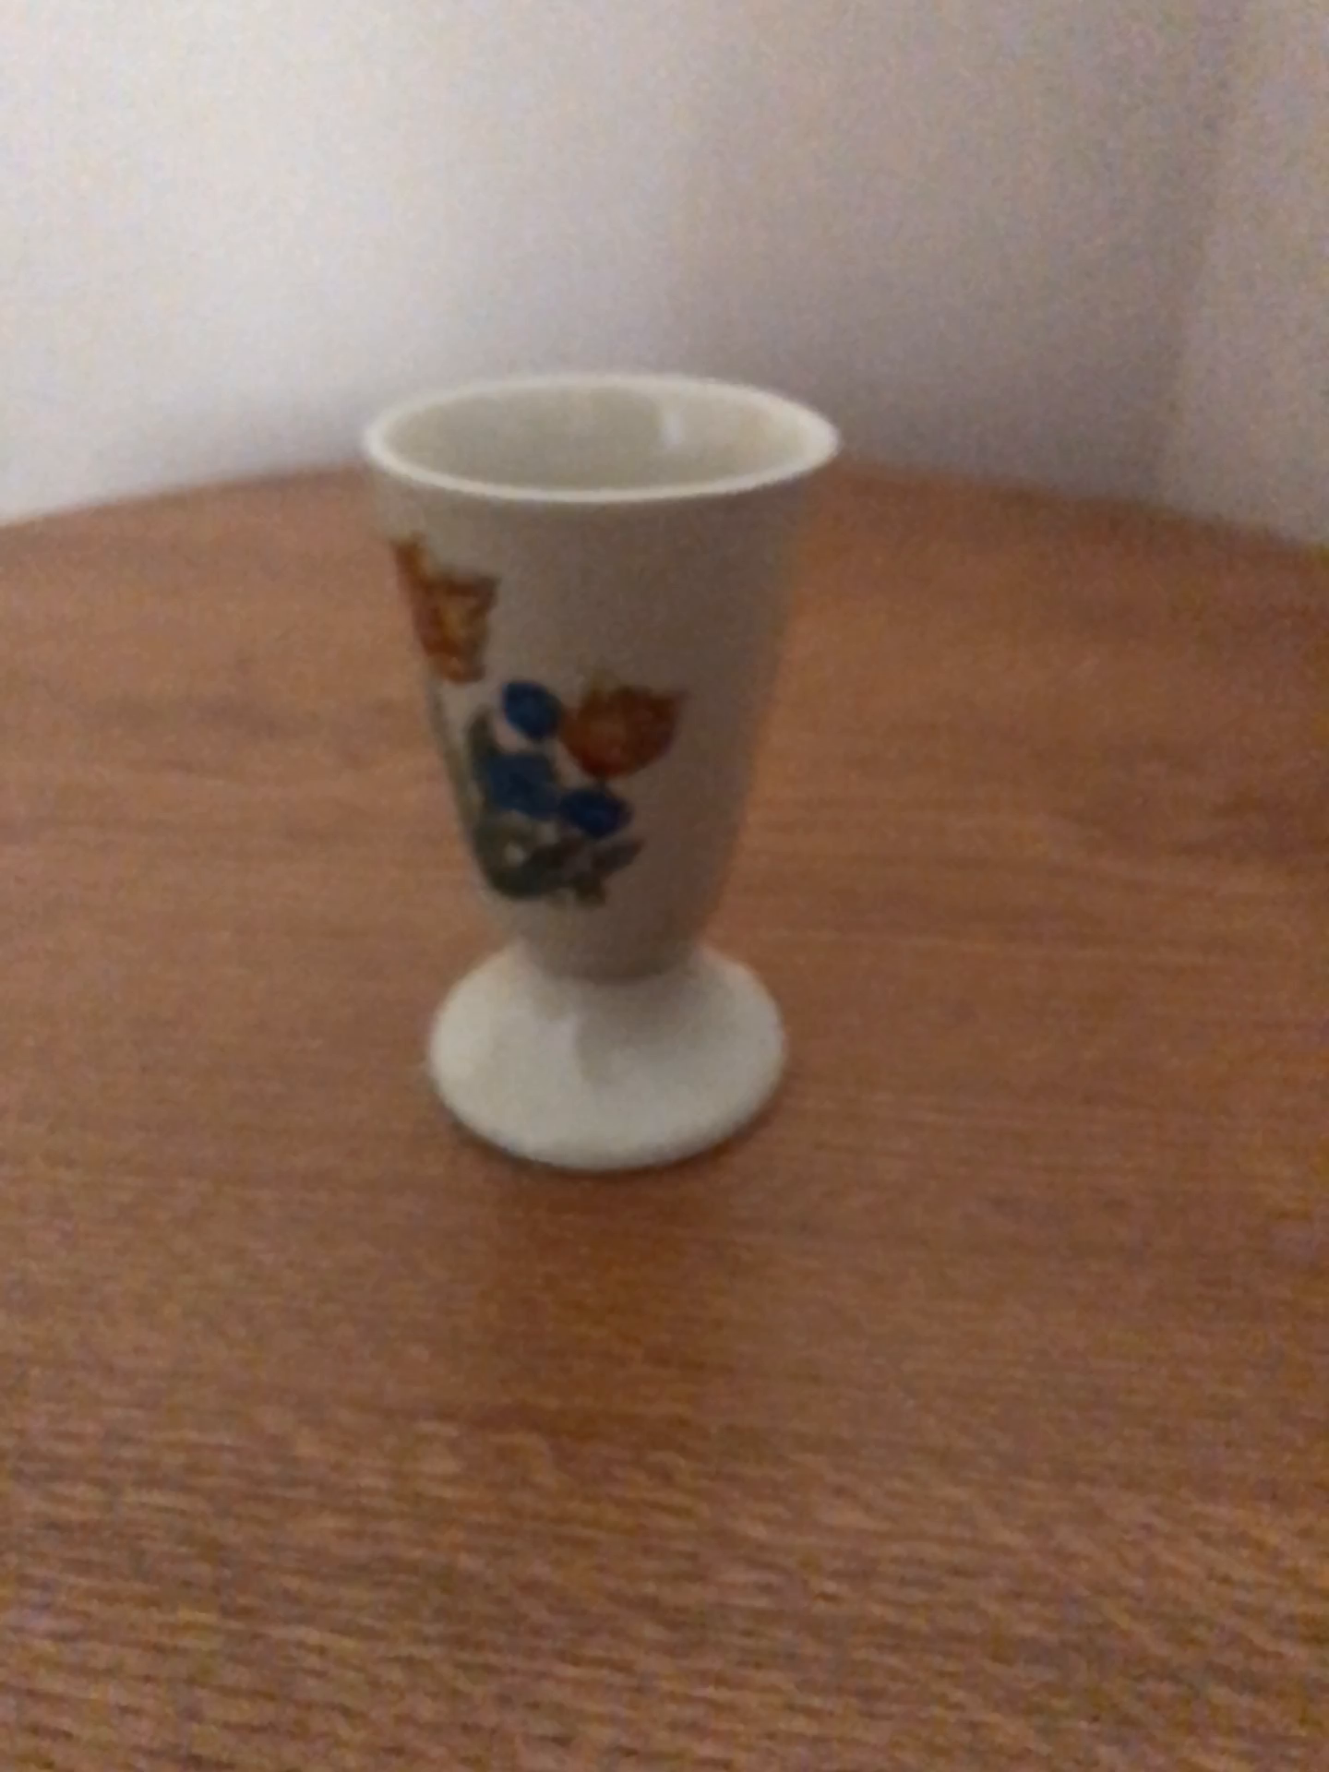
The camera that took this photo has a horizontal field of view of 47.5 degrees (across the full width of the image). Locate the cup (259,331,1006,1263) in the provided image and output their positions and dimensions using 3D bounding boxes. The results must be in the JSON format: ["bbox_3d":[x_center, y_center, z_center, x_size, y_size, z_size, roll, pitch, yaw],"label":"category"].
[{"bbox_3d":[-0.006,-0.020,0.259,0.080,0.119,0.080,1,32,0],"label":"cup"}]

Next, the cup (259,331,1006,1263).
[{"bbox_3d":[-0.006,-0.020,0.259,0.080,0.119,0.080,1,32,0],"label":"cup"}]
